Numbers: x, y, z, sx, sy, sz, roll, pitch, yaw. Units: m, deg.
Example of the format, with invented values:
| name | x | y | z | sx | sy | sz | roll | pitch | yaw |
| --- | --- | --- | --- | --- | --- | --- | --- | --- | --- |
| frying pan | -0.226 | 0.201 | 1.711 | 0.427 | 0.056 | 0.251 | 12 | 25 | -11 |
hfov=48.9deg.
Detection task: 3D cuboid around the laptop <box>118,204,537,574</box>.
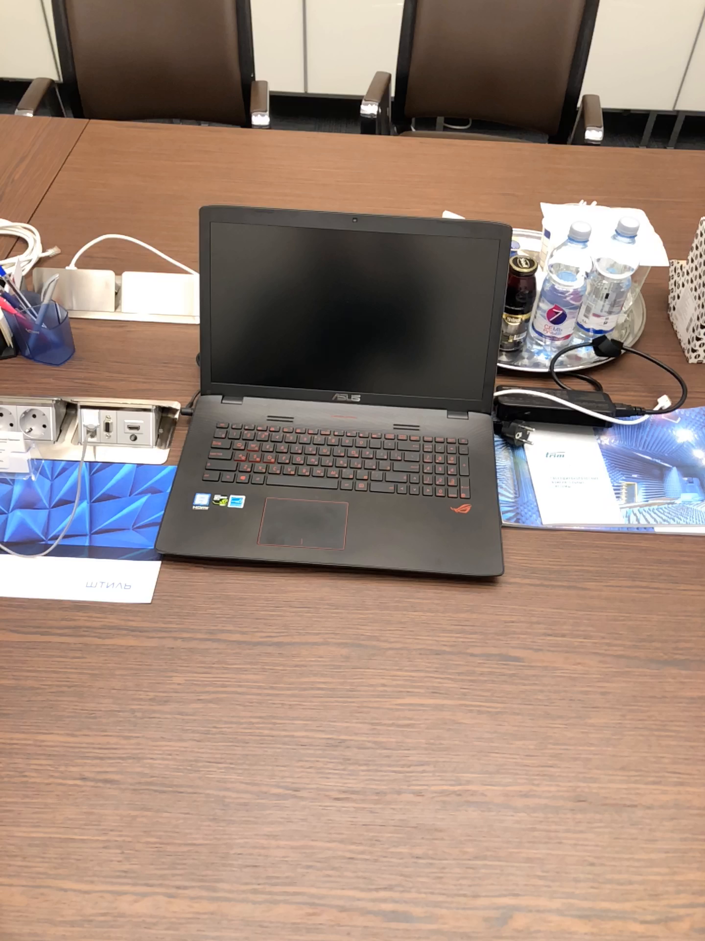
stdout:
| name | x | y | z | sx | sy | sz | roll | pitch | yaw |
| --- | --- | --- | --- | --- | --- | --- | --- | --- | --- |
| laptop | -0.015 | -0.106 | 0.891 | 0.379 | 0.194 | 0.370 | 4 | 49 | 1 |
